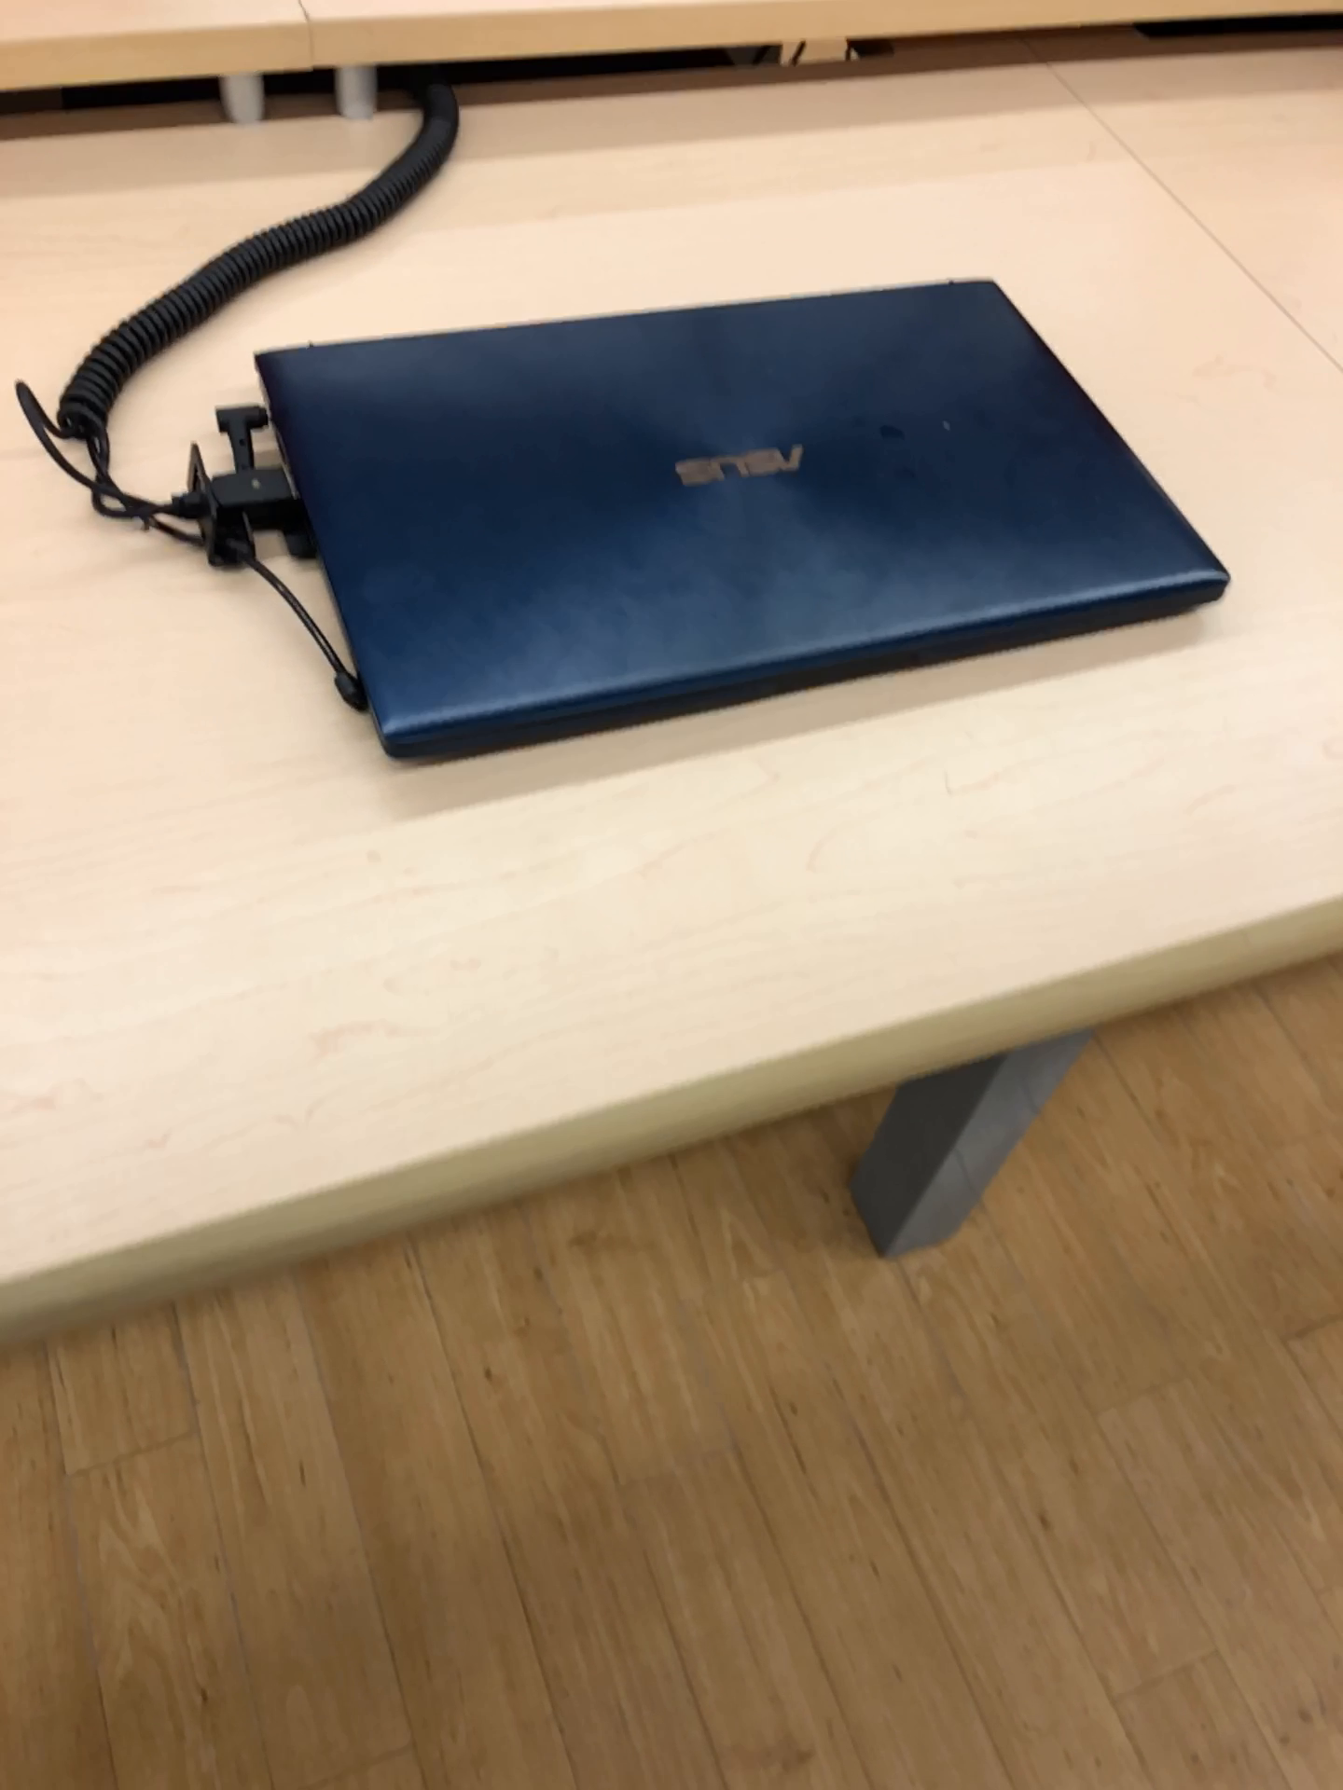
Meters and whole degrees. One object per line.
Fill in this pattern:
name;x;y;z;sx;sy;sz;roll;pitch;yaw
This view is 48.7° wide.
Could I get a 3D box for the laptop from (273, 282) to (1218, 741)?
laptop;0.026;-0.149;0.523;0.295;0.001;0.178;-13;58;-17
